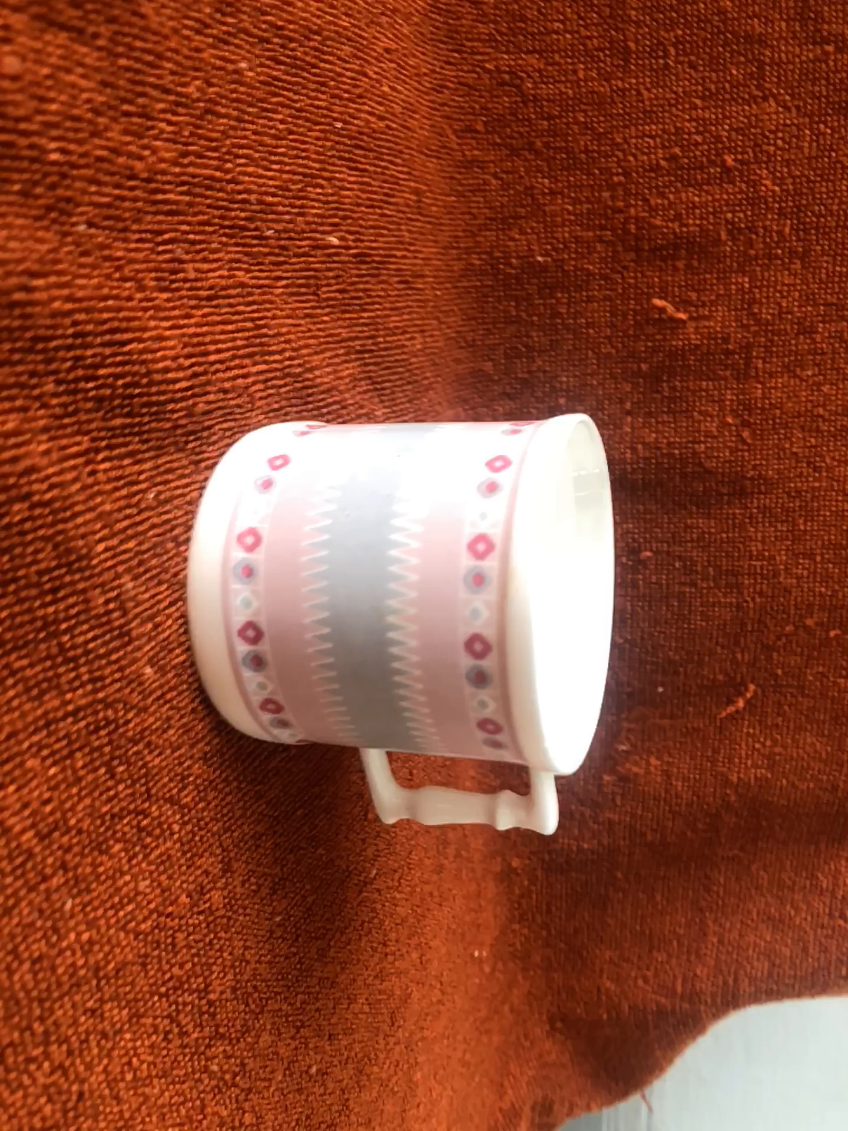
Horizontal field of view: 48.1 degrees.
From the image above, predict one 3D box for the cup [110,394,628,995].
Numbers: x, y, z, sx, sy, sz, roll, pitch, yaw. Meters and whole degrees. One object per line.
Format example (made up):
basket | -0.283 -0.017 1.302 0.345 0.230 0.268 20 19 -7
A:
cup | -0.001 0.020 0.183 0.060 0.070 0.090 -55 143 -55
